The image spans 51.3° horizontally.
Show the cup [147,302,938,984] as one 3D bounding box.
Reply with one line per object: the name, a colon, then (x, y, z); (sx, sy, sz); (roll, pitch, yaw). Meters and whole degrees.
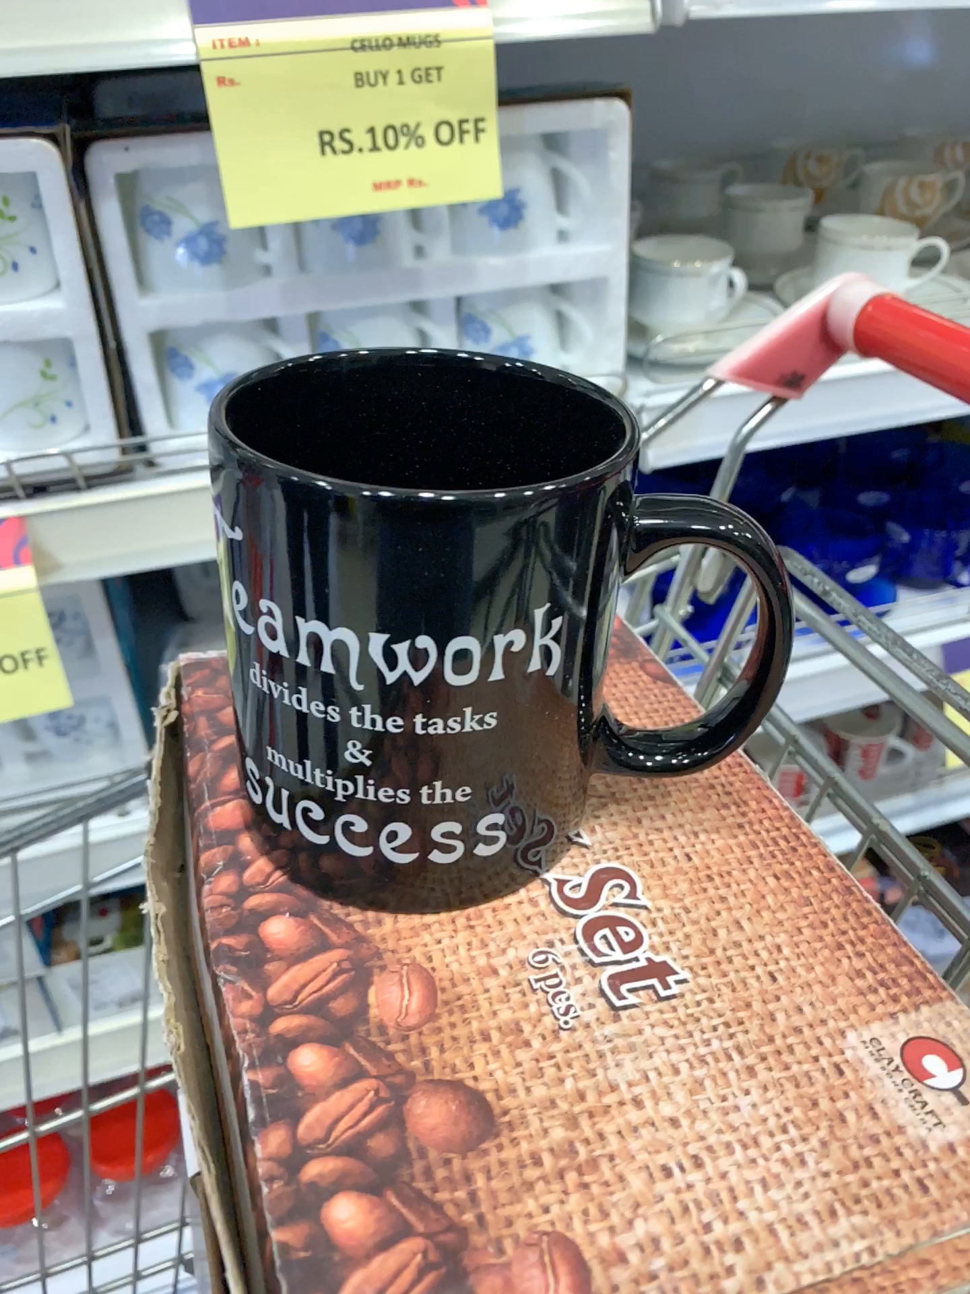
cup: (0.008, -0.003, 0.214); (0.120, 0.100, 0.080); (8, 36, 3)
